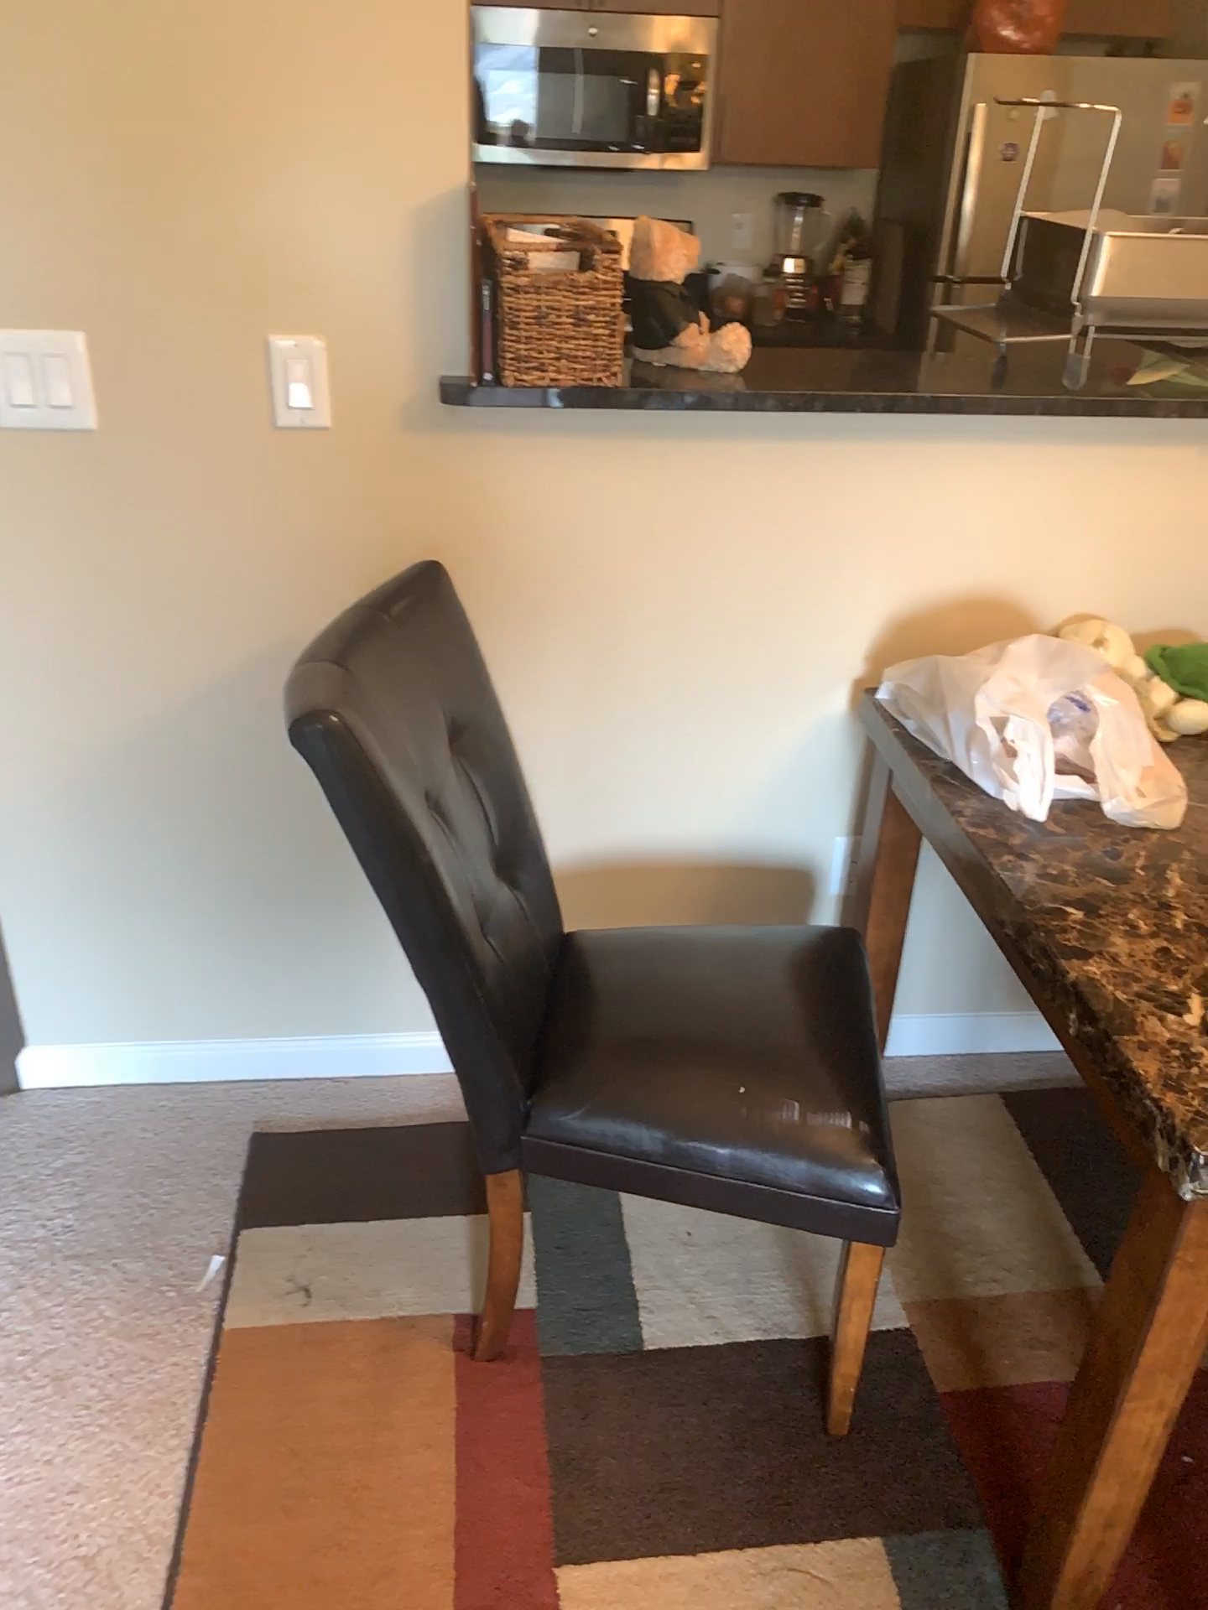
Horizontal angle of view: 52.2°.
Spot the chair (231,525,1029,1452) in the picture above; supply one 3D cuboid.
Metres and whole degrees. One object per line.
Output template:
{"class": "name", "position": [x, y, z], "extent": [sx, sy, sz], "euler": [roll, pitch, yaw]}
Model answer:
{"class": "chair", "position": [0.016, 0.201, 1.703], "extent": [0.730, 0.925, 0.815], "euler": [3, 29, 0]}
